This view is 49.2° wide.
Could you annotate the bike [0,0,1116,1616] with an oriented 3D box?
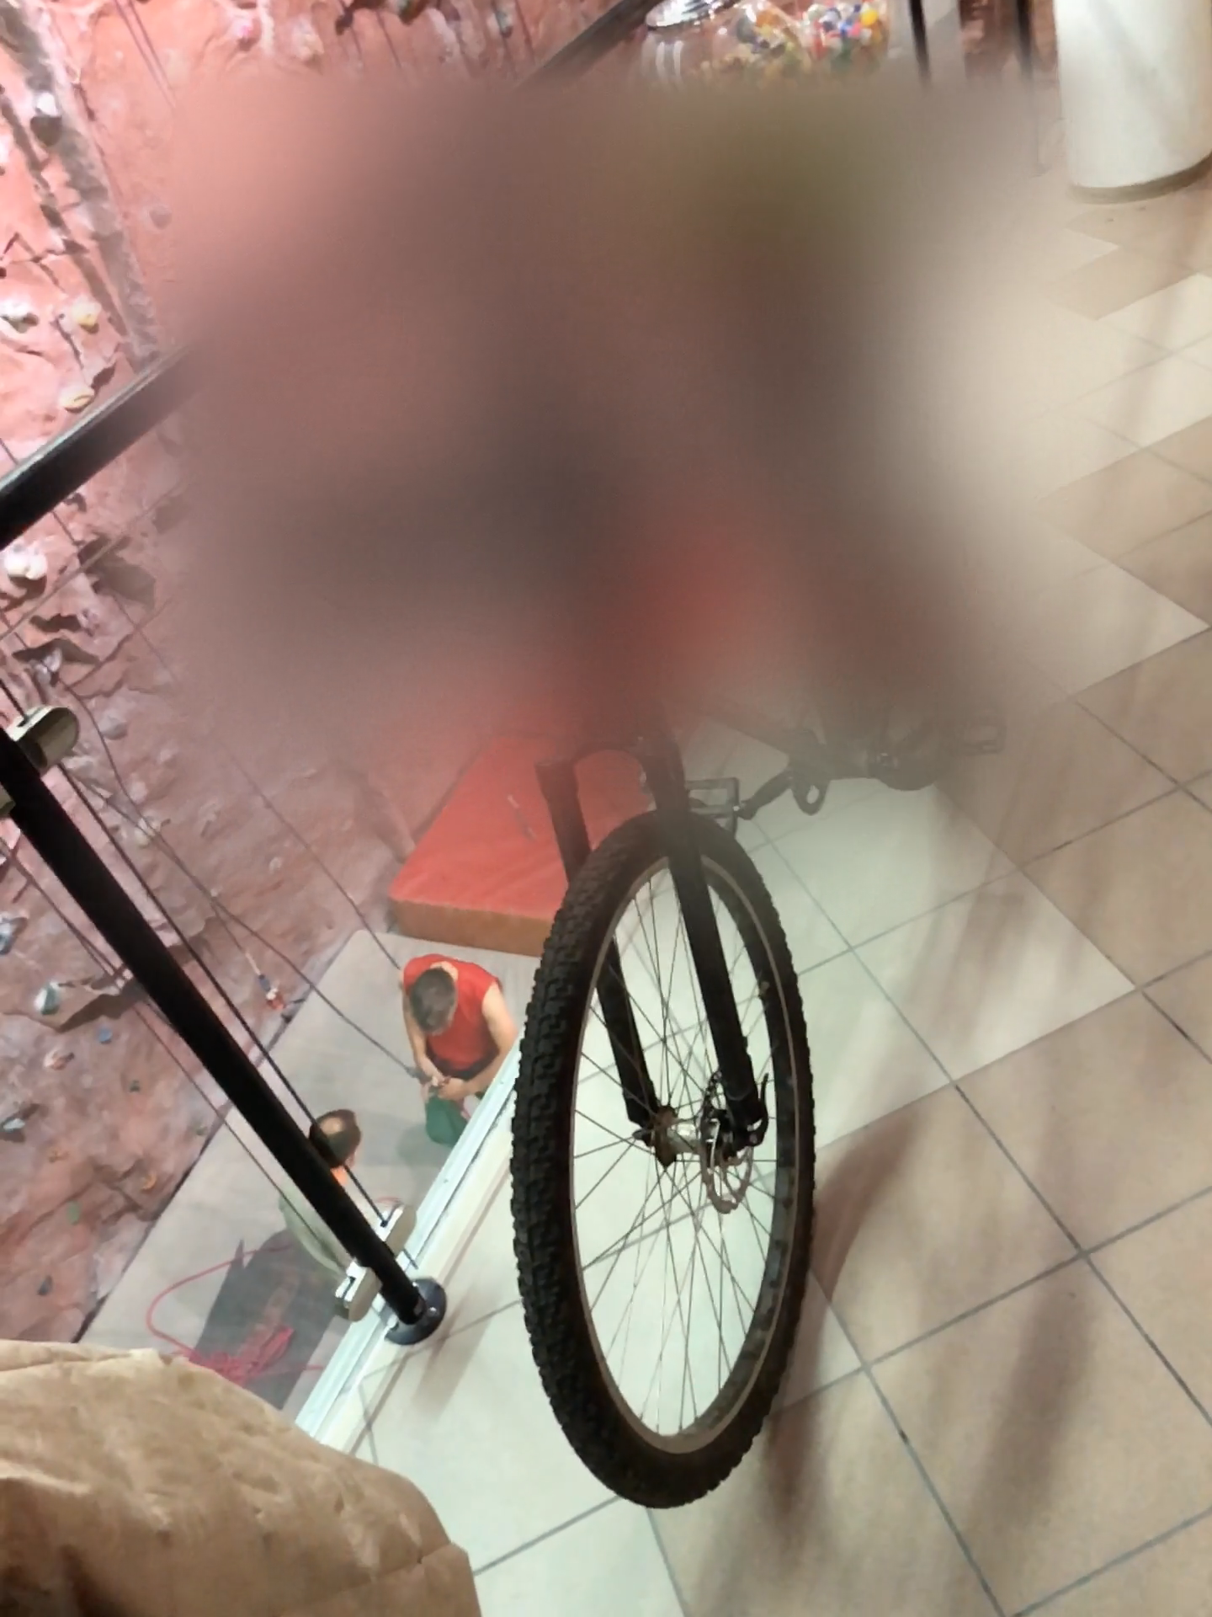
[{"bbox_3d":[0.162,-0.193,1.754,0.749,1.099,1.828,1,41,27],"label":"bike"}]
